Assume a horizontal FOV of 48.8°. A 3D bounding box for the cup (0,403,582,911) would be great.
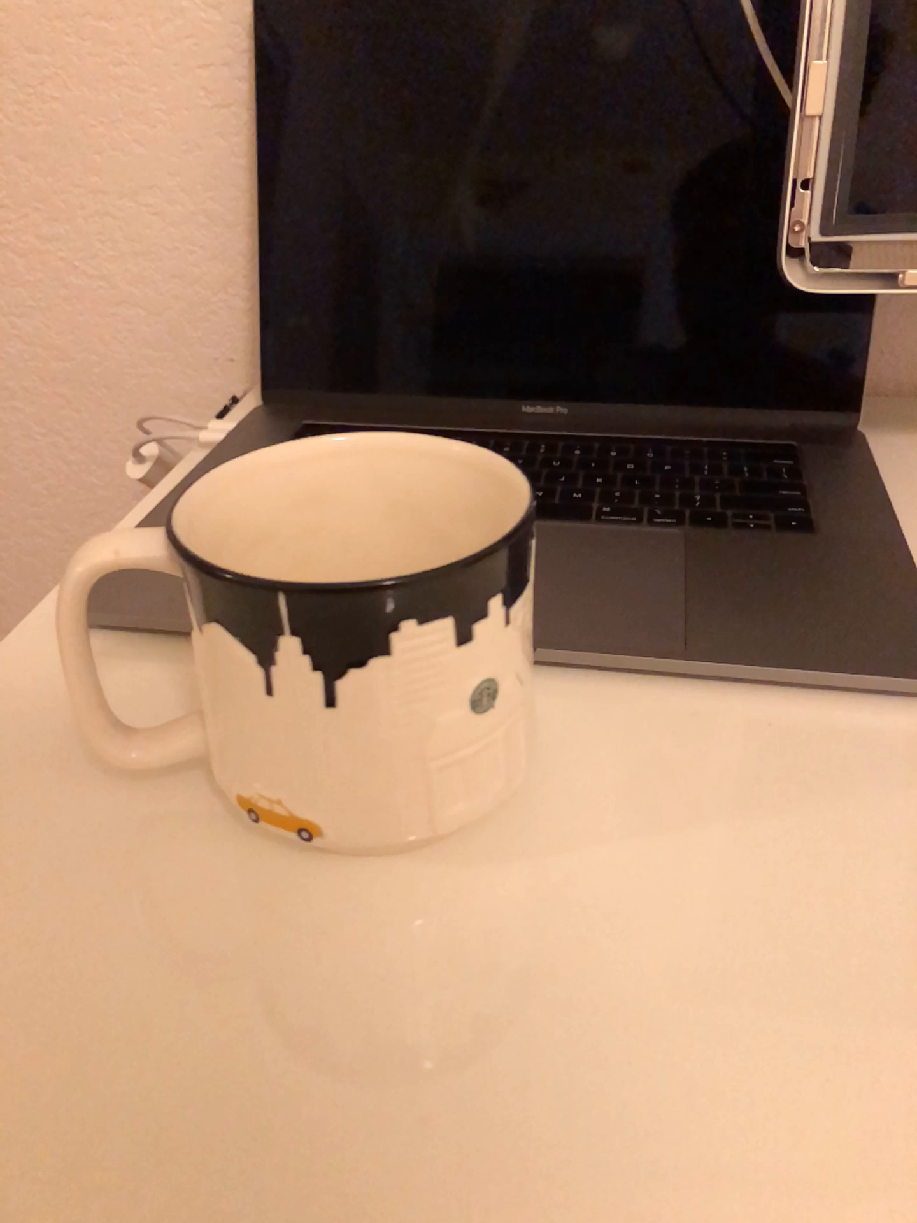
[{"bbox_3d":[-0.046,0.010,0.318,0.150,0.109,0.101,-5,32,-3],"label":"cup"}]
